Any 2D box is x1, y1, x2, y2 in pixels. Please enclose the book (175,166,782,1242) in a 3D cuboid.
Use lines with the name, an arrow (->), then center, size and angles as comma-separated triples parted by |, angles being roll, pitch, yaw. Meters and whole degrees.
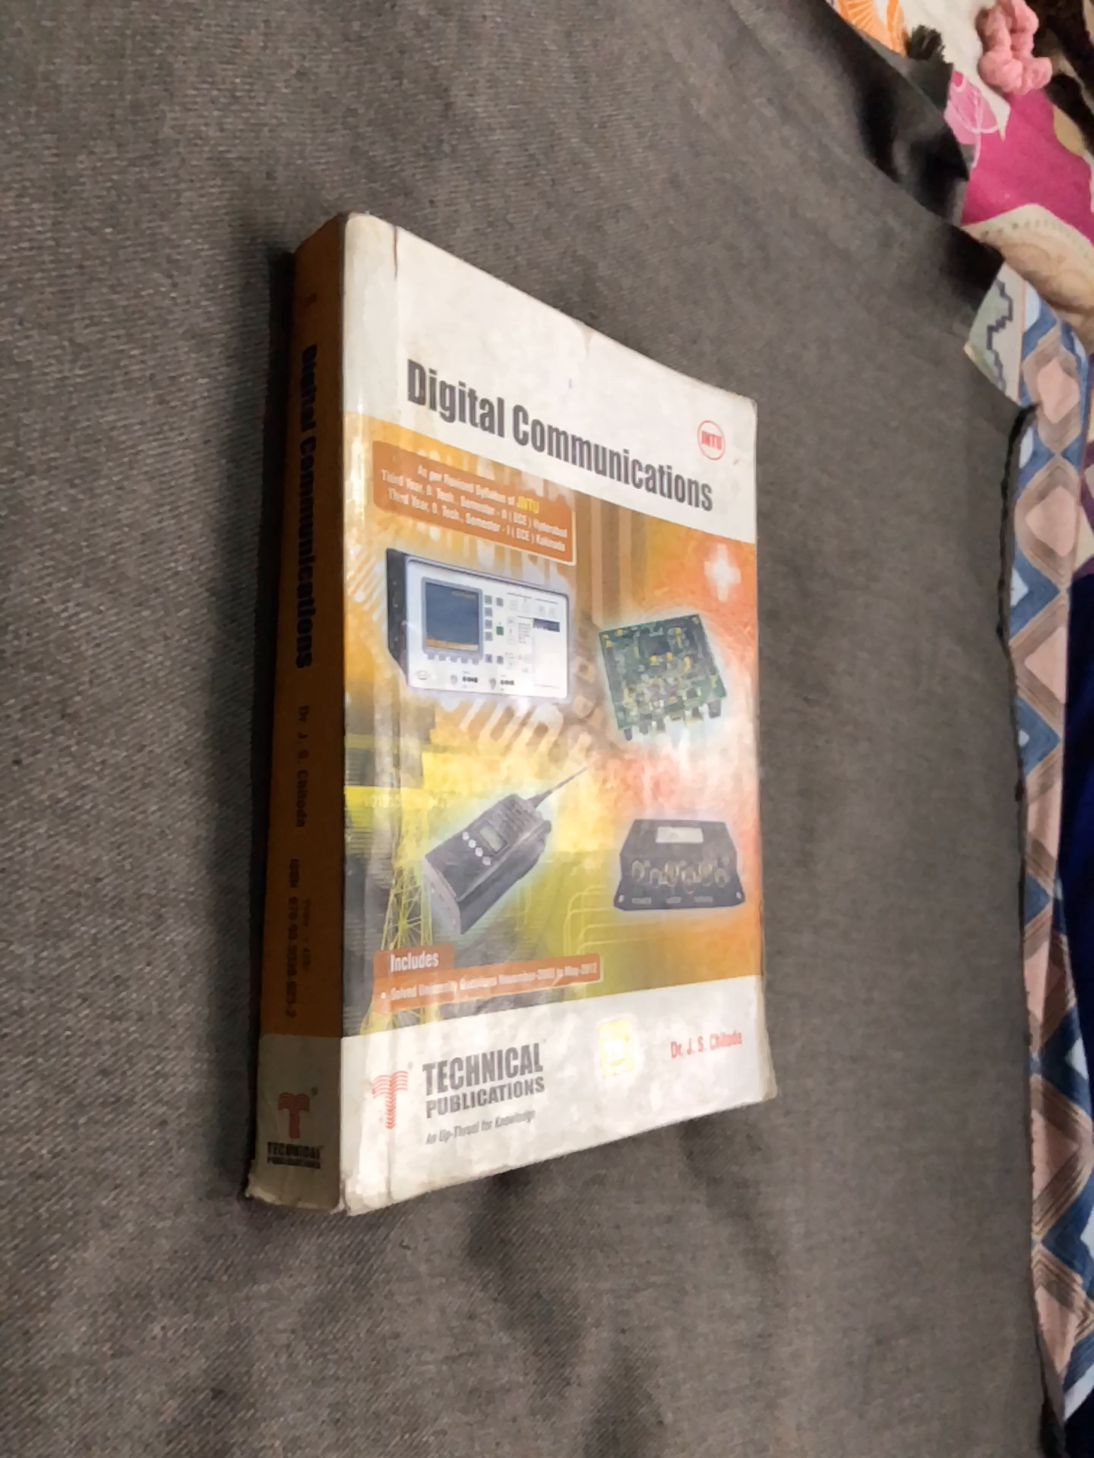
book -> -0.007, -0.002, 0.353 | 0.182, 0.050, 0.241 | 7, 80, -45
